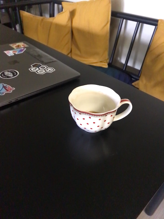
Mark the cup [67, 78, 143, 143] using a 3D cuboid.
[{"bbox_3d":[0.041,-0.001,0.342,0.120,0.069,0.091,7,37,5],"label":"cup"}]
